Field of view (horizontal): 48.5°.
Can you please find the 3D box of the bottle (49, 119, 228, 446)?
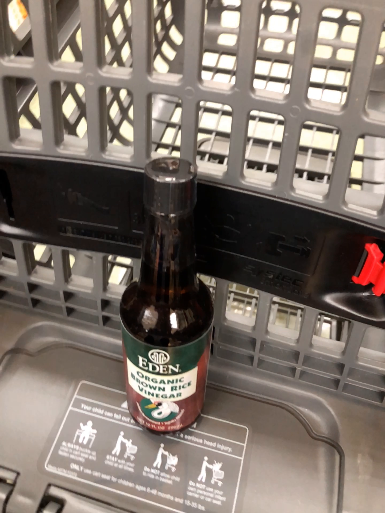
[{"bbox_3d":[-0.026,0.024,0.265,0.070,0.190,0.070,2,34,-1],"label":"bottle"}]
